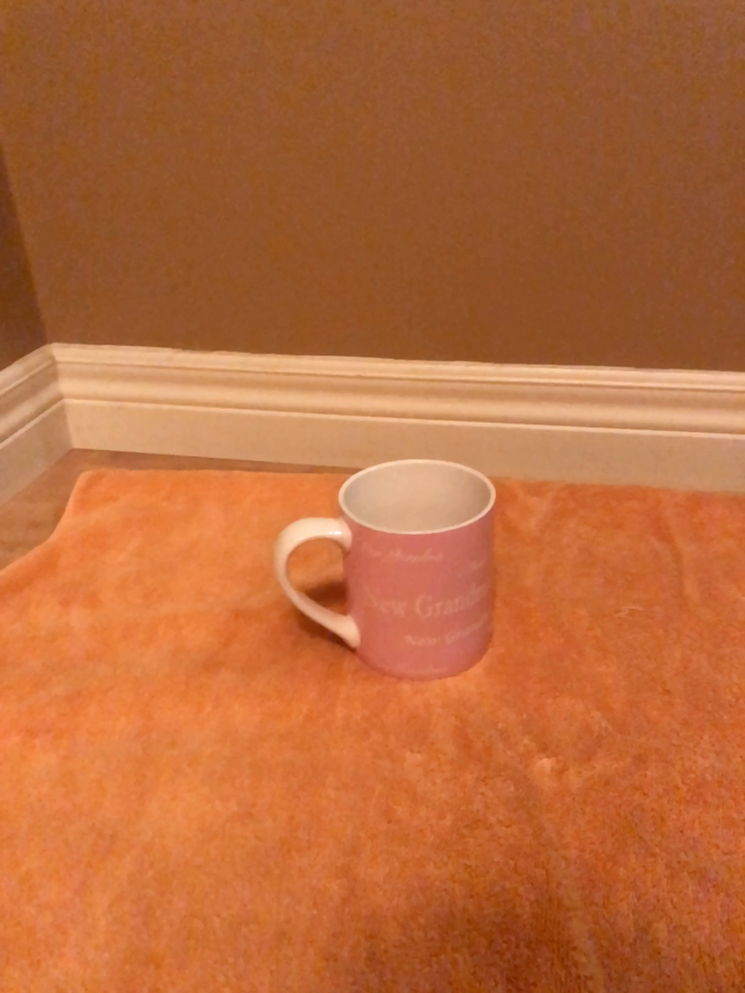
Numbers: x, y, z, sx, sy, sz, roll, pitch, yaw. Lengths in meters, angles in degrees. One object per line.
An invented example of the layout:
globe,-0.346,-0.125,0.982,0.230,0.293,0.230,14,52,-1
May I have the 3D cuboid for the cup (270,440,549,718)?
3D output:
cup,0.016,0.044,0.495,0.140,0.109,0.111,-6,27,-8
